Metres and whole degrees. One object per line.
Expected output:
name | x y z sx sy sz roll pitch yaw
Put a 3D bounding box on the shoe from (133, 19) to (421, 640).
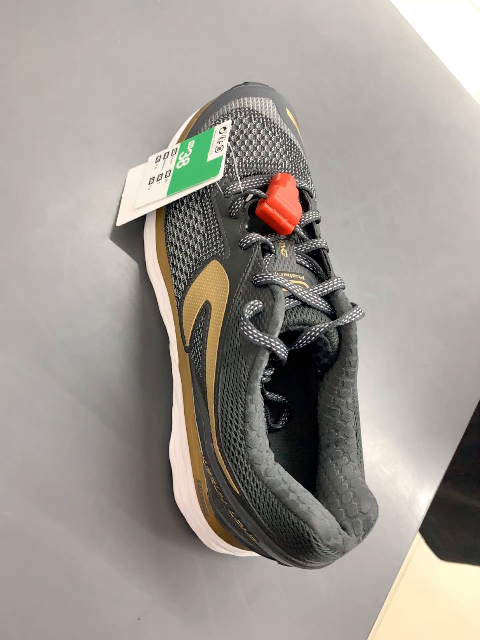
shoe | 0.009 0.001 0.249 0.100 0.090 0.240 4 78 -24
